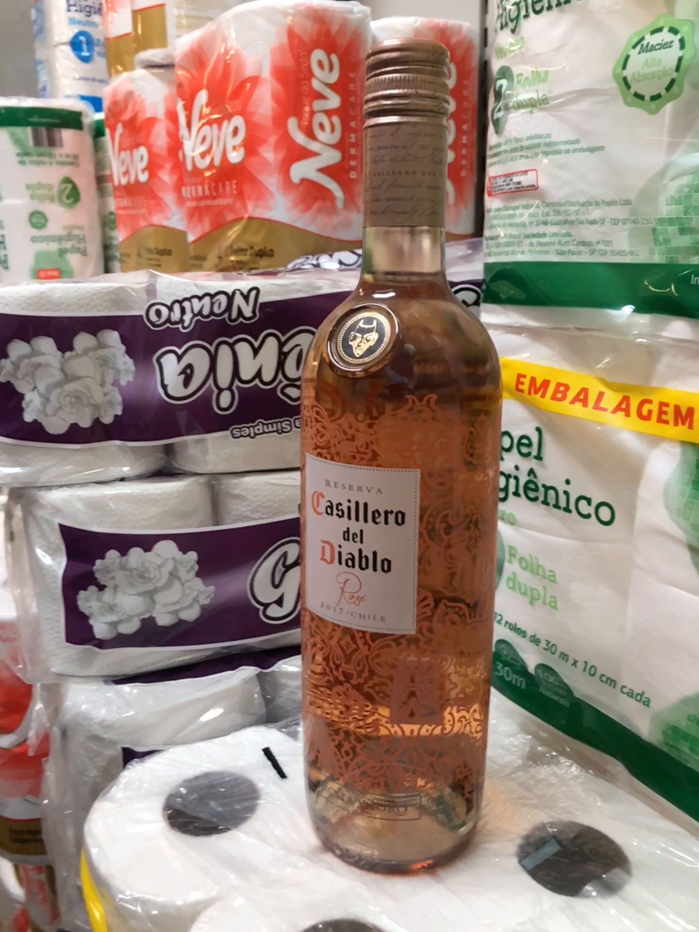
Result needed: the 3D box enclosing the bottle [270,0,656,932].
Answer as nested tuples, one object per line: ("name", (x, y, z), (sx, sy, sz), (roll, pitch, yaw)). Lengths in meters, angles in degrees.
("bottle", (0.040, 0.015, 0.274), (0.090, 0.309, 0.080), (8, 16, 37))
